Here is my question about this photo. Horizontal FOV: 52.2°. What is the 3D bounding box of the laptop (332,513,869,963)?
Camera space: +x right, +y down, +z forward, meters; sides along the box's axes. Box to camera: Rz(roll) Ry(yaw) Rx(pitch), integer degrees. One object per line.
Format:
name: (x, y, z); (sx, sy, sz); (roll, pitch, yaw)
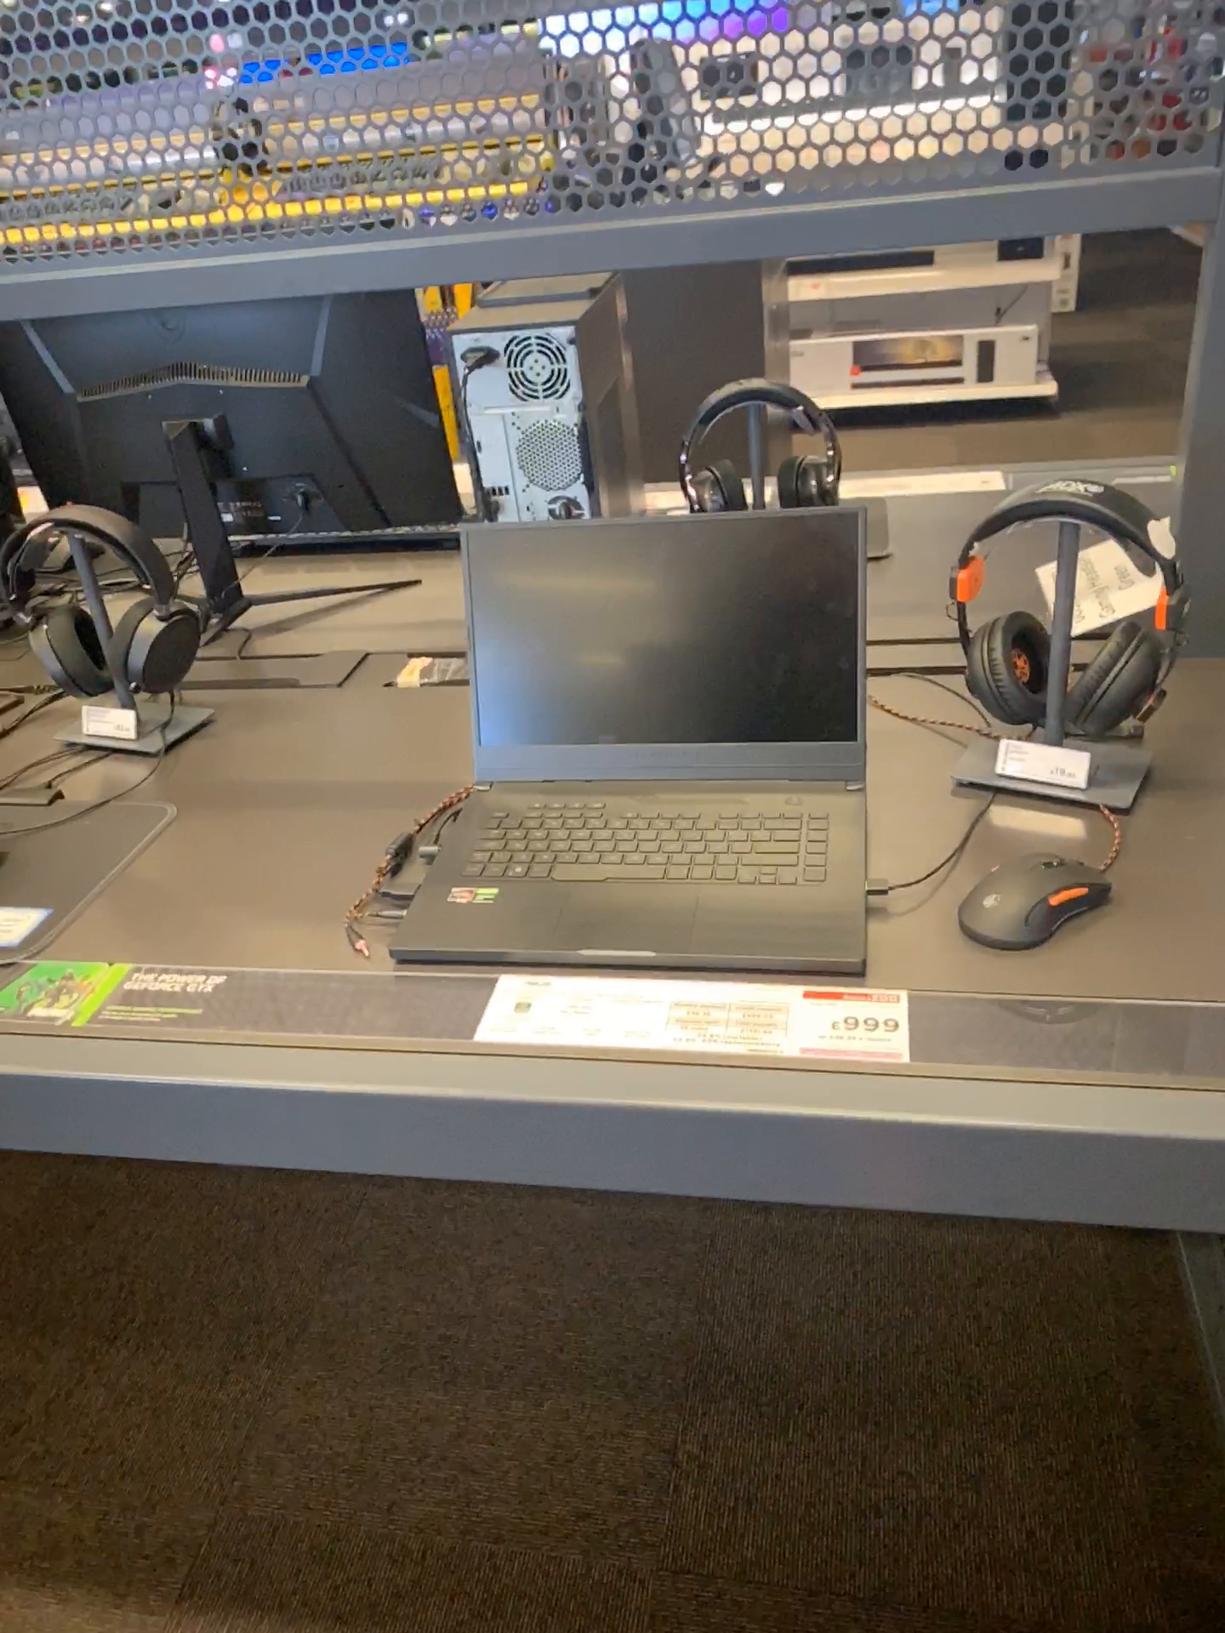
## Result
laptop: (0.023, -0.077, 0.983); (0.348, 0.203, 0.326); (1, 32, 11)
